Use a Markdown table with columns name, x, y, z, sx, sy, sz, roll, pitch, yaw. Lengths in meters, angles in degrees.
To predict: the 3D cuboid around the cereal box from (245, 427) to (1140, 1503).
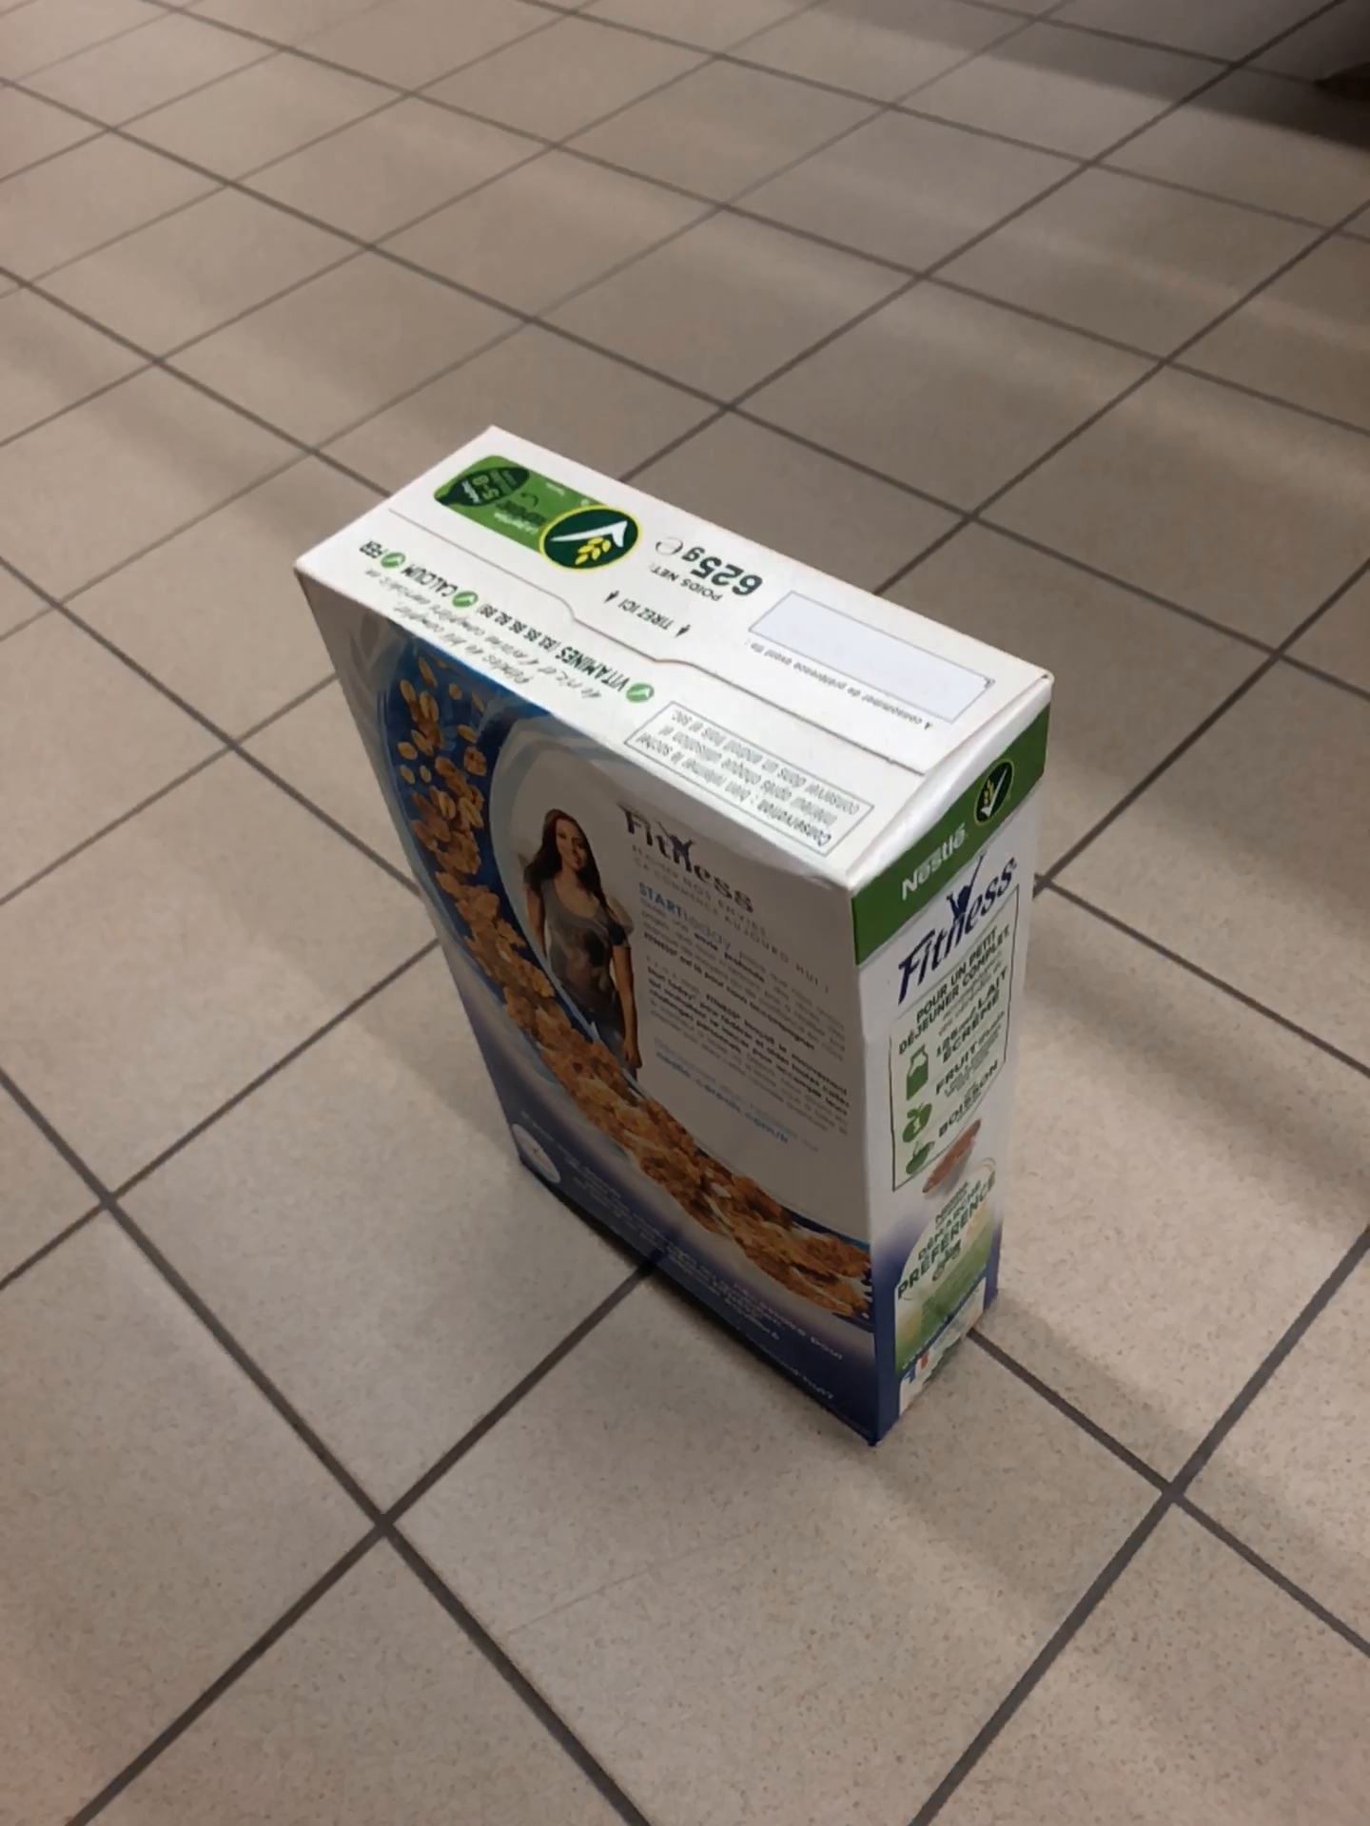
| name | x | y | z | sx | sy | sz | roll | pitch | yaw |
| --- | --- | --- | --- | --- | --- | --- | --- | --- | --- |
| cereal box | 0.009 | 0.031 | 0.479 | 0.210 | 0.298 | 0.090 | 30 | 59 | 29 |
